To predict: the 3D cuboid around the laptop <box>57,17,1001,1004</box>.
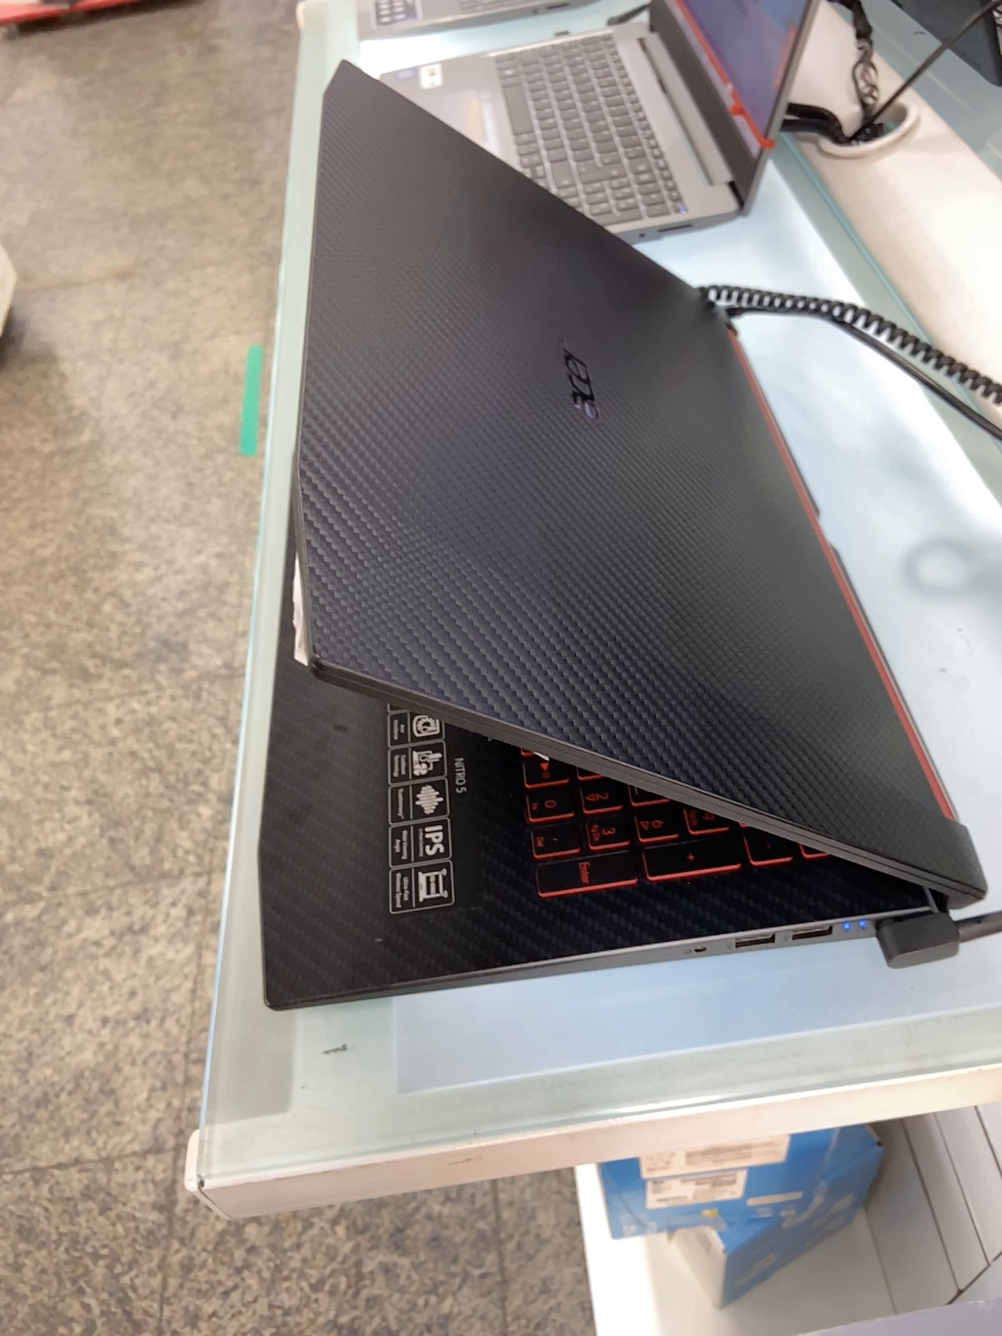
[{"bbox_3d":[0.006,-0.095,0.425,0.234,0.163,0.382,-9,47,3],"label":"laptop"}]
